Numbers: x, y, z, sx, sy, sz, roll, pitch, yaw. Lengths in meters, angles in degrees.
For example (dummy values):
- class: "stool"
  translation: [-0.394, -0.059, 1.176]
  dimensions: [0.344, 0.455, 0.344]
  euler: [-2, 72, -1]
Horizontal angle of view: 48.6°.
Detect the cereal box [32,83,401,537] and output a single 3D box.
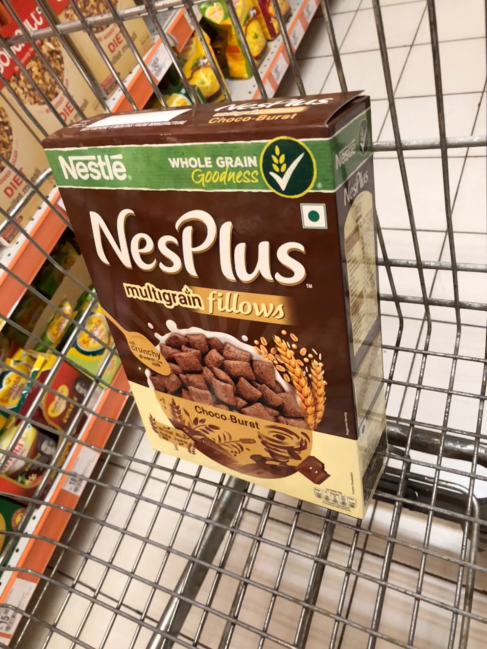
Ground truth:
- class: "cereal box"
  translation: [-0.005, -0.003, 0.350]
  dimensions: [0.191, 0.259, 0.060]
  euler: [9, 36, 31]
